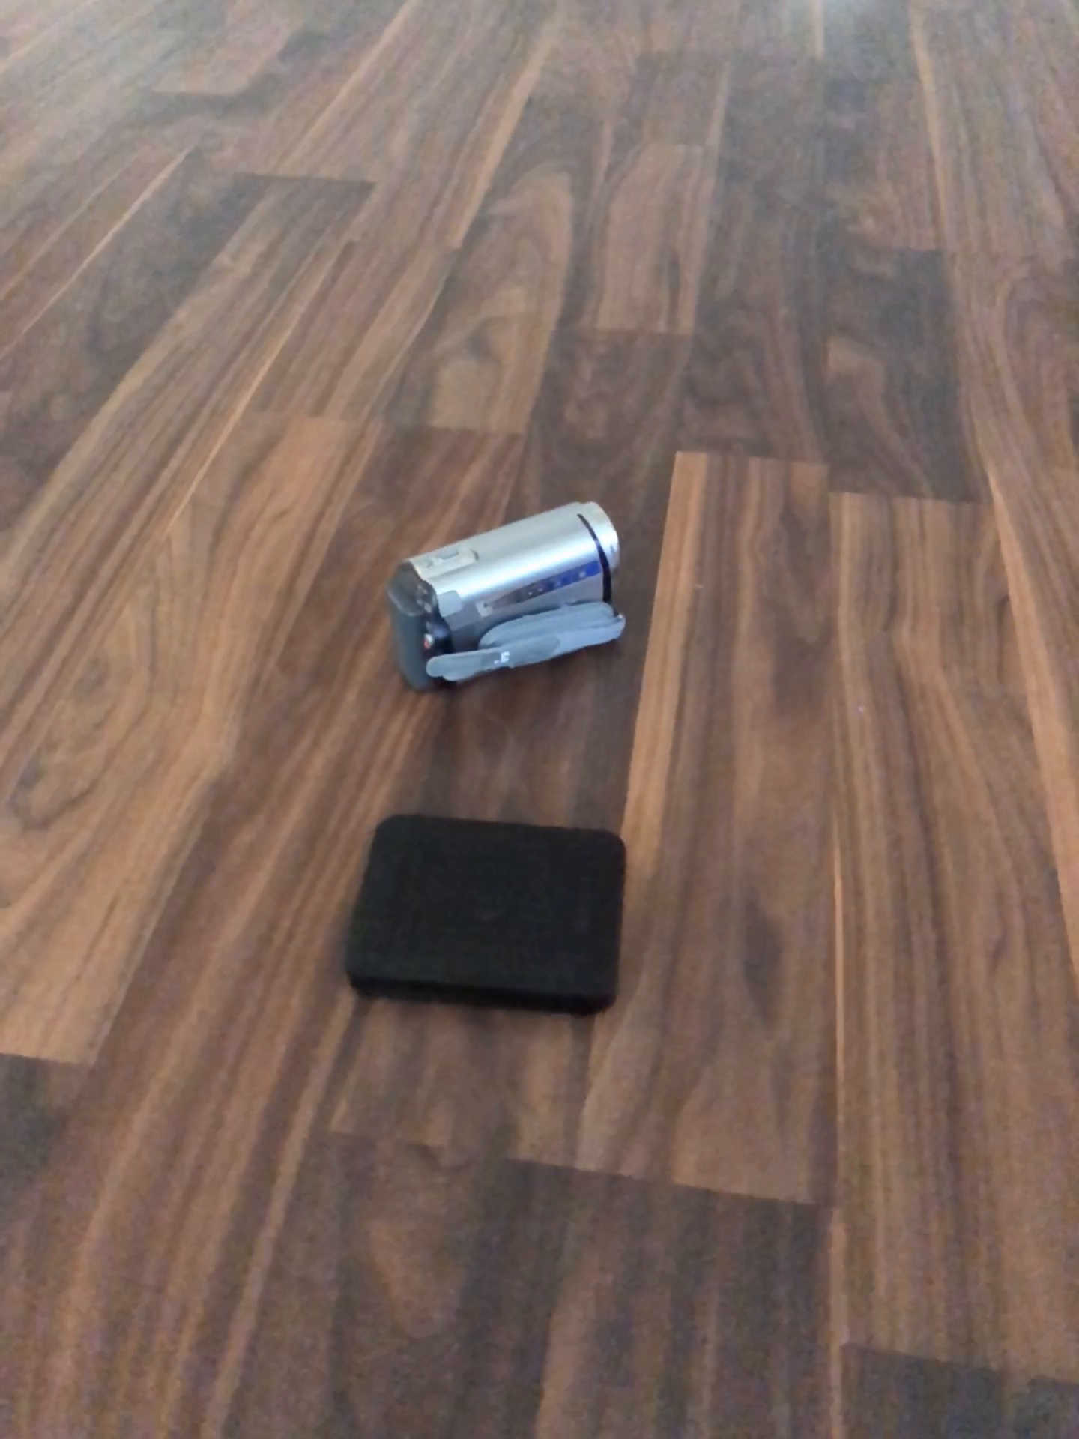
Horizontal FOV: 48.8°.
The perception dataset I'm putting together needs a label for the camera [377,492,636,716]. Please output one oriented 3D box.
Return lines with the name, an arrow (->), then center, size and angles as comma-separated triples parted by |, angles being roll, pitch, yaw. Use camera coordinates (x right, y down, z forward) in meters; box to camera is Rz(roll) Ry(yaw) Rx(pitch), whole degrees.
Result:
camera -> -0.015, -0.059, 0.596 | 0.115, 0.065, 0.048 | -21, 48, -19
